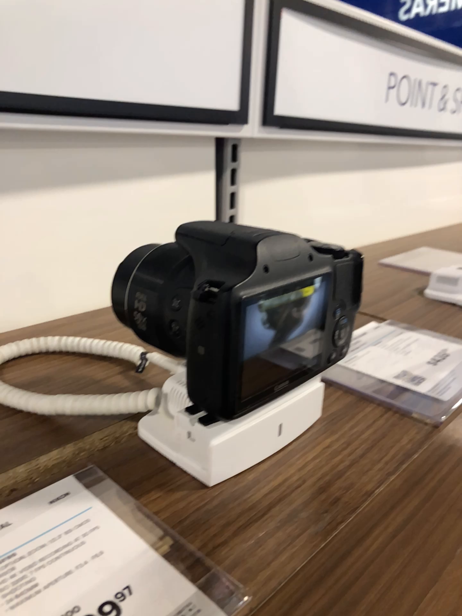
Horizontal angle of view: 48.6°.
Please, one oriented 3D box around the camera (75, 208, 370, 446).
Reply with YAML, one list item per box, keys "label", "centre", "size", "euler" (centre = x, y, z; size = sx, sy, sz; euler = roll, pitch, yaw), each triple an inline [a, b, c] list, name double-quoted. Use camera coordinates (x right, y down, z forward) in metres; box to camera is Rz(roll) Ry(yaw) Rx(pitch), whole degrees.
- label: "camera"
  centre: [-0.002, -0.004, 0.281]
  size: [0.101, 0.080, 0.120]
  euler: [16, 23, 36]
